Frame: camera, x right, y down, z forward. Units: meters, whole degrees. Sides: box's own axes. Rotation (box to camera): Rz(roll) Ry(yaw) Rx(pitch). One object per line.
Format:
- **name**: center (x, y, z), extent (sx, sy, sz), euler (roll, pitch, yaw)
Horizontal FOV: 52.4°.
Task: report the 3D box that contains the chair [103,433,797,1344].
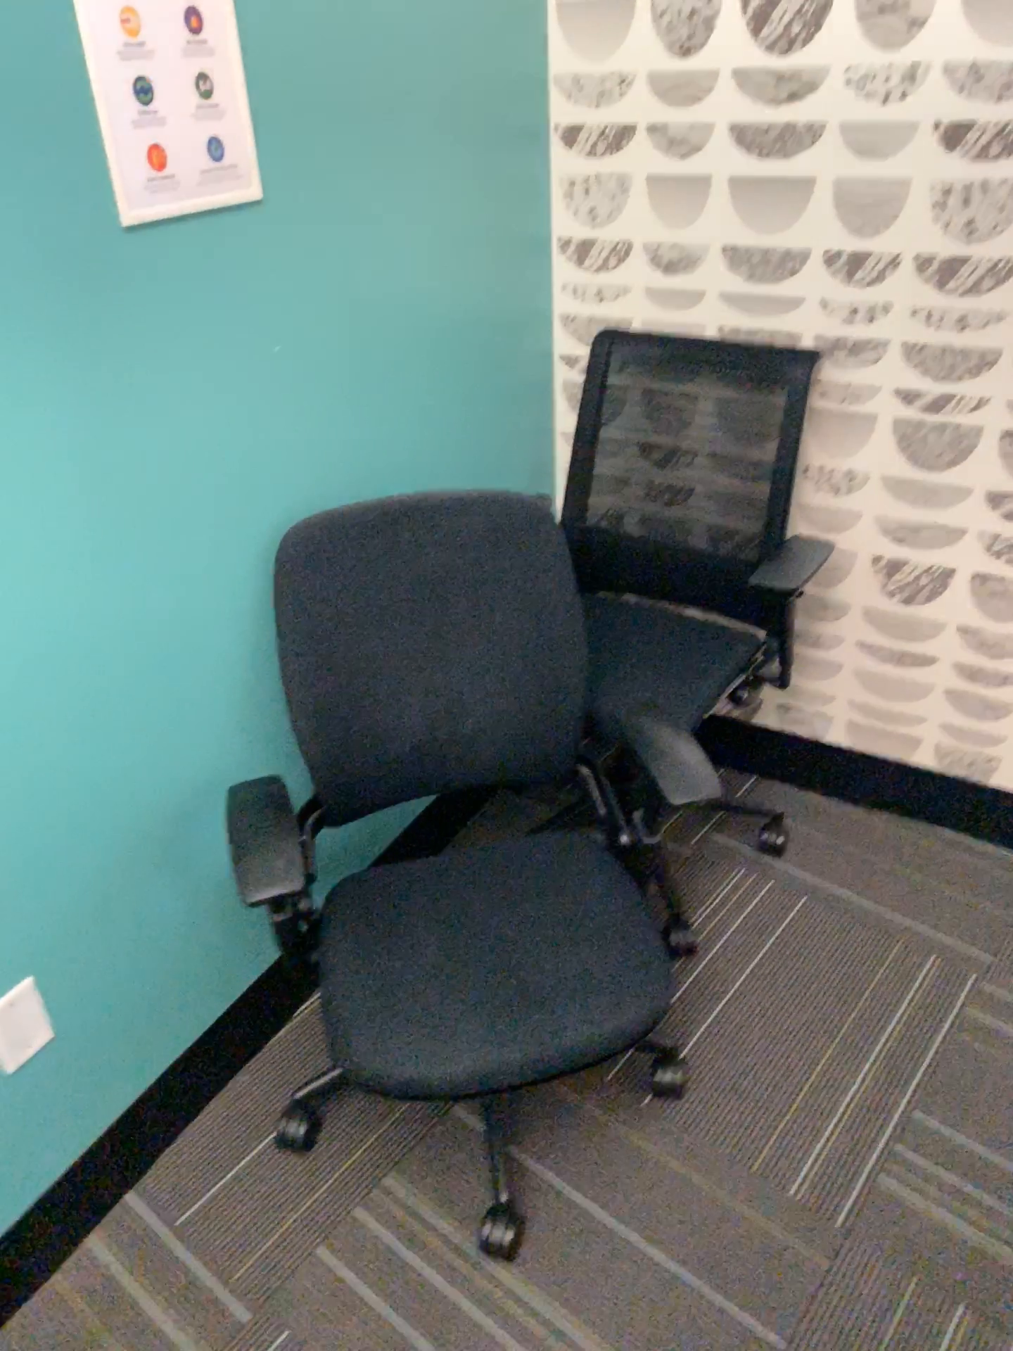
- **chair**: center (-0.099, 0.257, 1.530), extent (0.660, 0.944, 0.775), euler (-9, 32, -10)
